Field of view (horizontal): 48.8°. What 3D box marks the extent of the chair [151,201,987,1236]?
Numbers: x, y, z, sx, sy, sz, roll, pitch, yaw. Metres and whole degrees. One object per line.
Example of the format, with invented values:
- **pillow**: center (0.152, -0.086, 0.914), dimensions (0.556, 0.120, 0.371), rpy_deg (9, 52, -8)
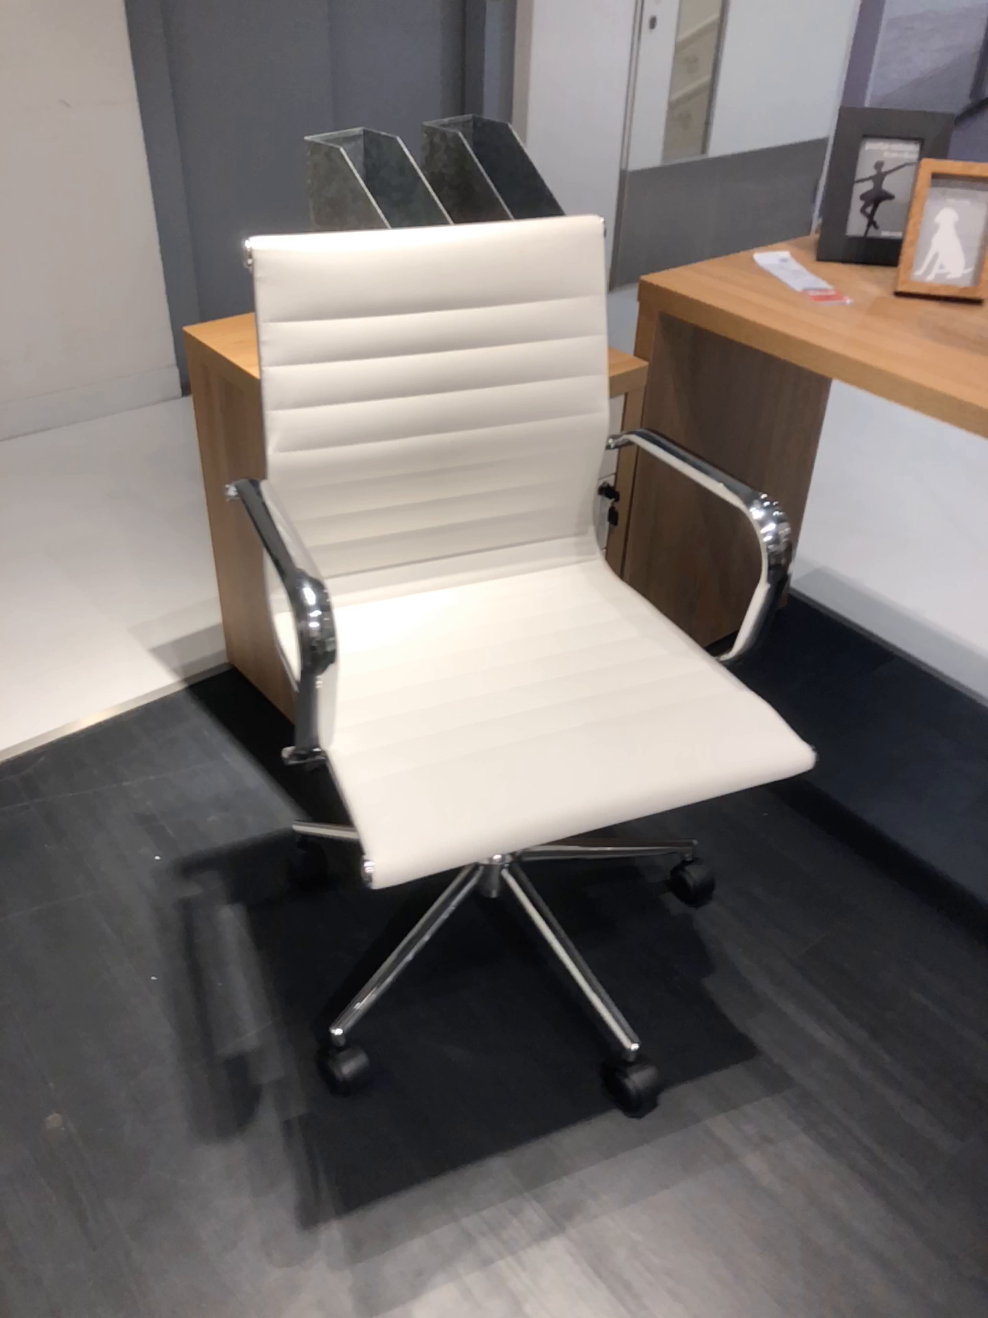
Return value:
- **chair**: center (0.006, 0.025, 1.399), dimensions (0.651, 0.952, 0.765), rpy_deg (-11, 38, -17)
